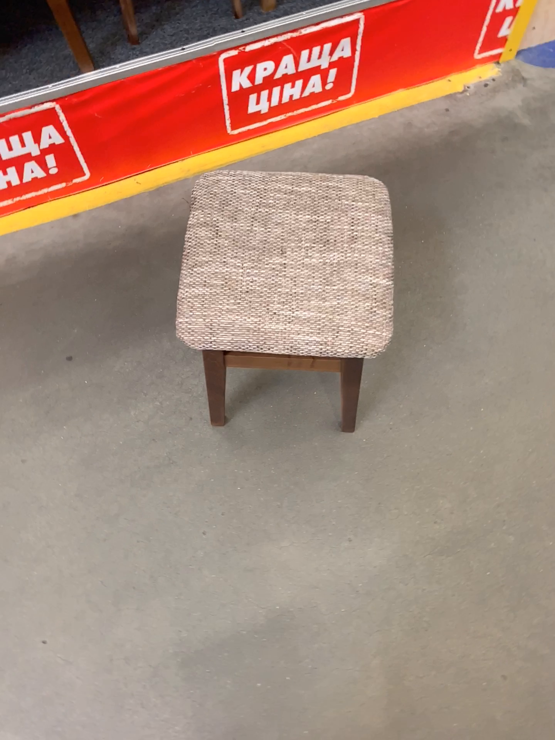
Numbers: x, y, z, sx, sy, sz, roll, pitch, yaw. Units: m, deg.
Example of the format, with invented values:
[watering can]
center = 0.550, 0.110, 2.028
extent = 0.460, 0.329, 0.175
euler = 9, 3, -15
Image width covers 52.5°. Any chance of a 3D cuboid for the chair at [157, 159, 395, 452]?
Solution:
[chair]
center = 0.008, -0.088, 1.094
extent = 0.340, 0.479, 0.361
euler = 3, 67, 1
